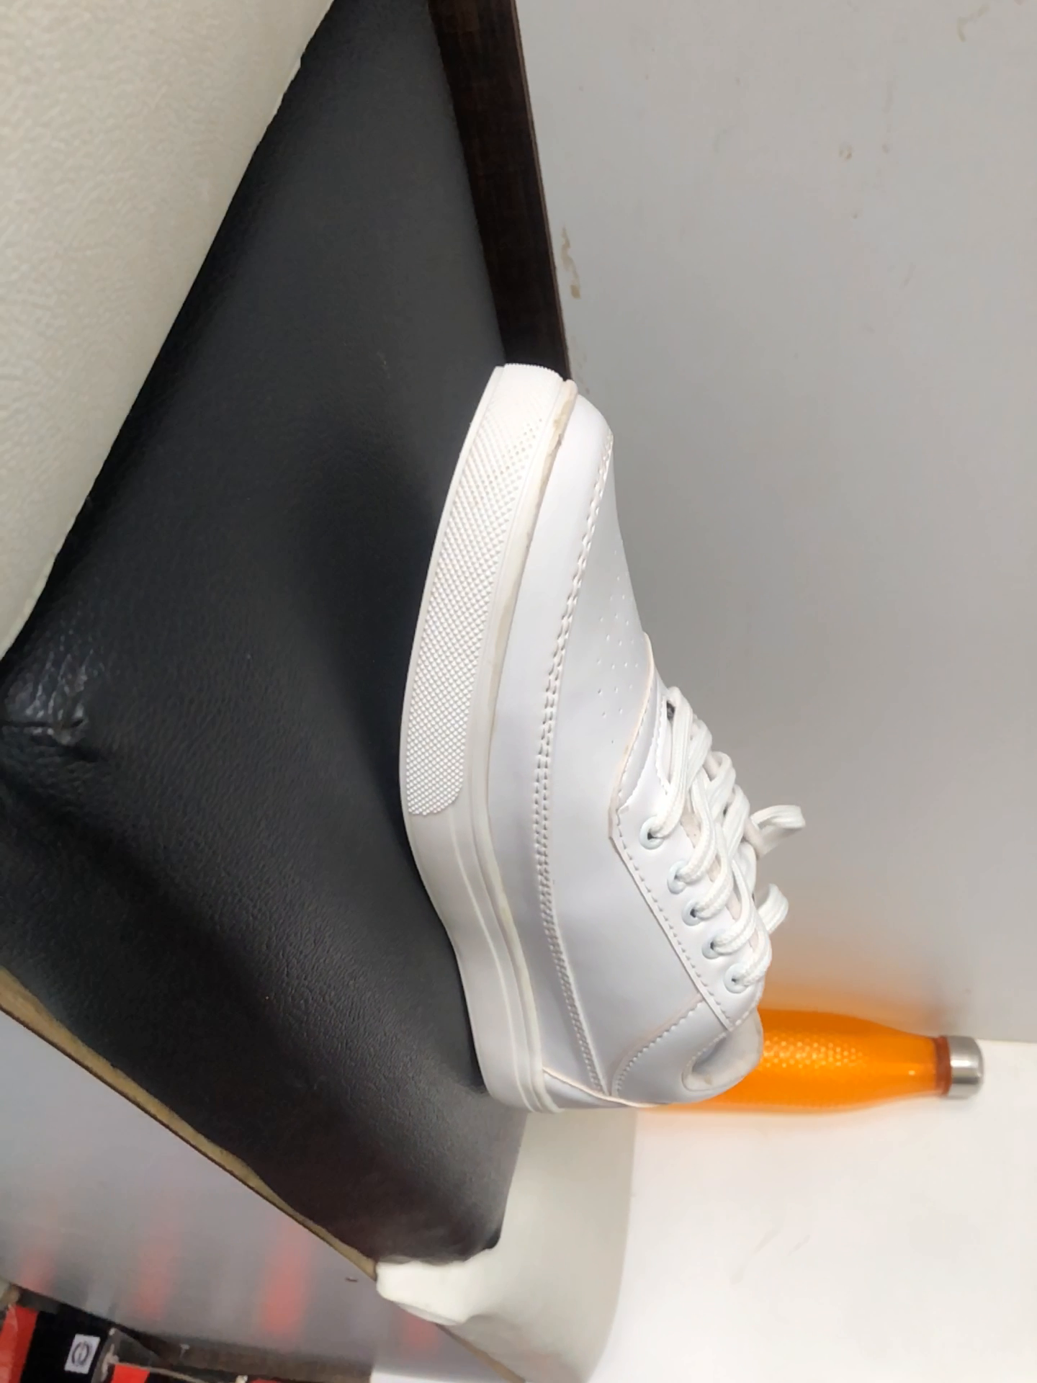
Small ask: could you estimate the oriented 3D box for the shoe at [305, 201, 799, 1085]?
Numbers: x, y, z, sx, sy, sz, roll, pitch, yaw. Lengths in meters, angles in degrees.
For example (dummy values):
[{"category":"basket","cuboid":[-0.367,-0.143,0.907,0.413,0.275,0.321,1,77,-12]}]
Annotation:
[{"category":"shoe","cuboid":[0.035,0.006,0.400,0.291,0.110,0.130,79,16,-45]}]
